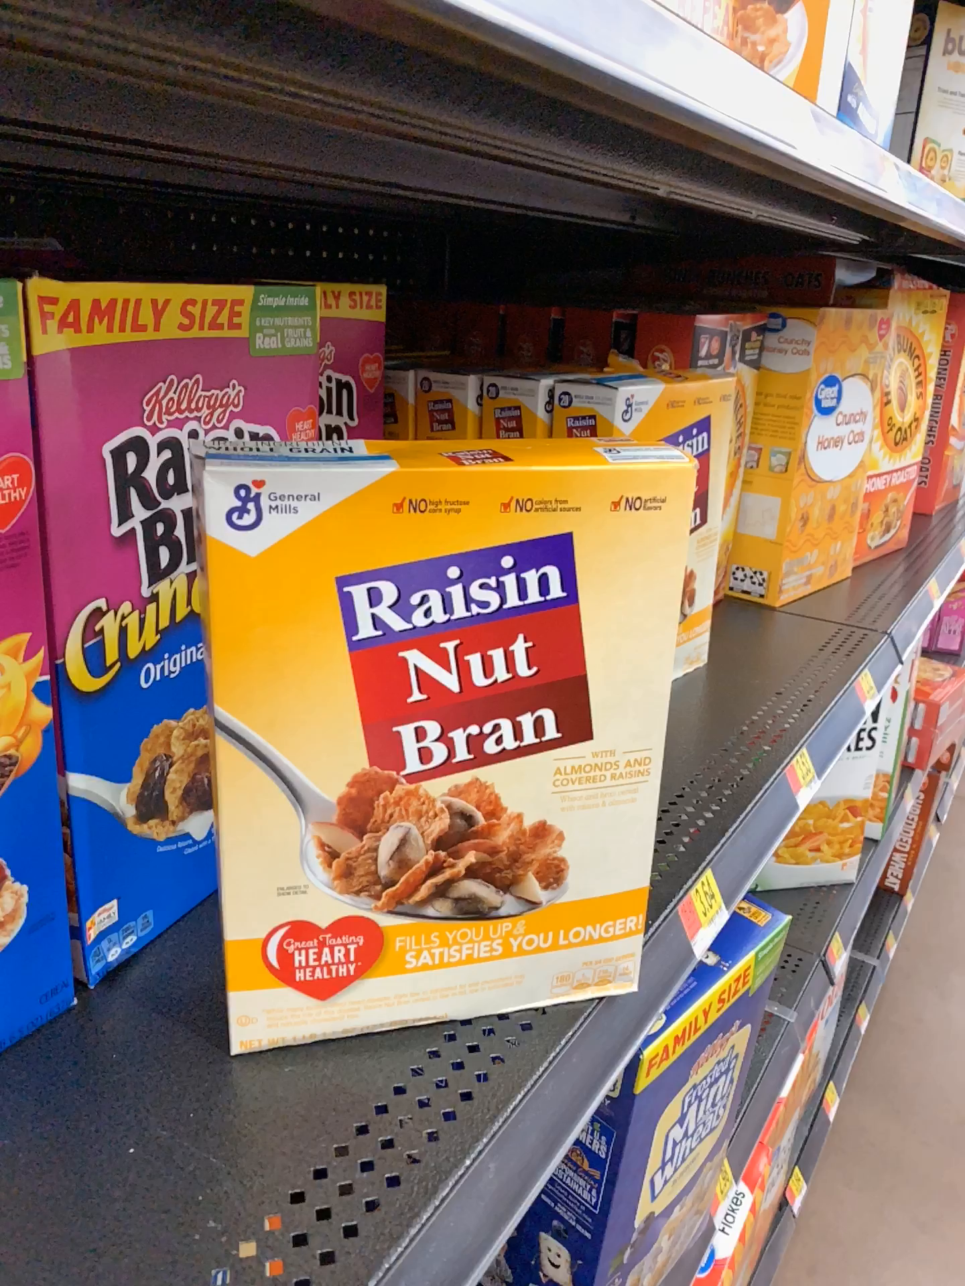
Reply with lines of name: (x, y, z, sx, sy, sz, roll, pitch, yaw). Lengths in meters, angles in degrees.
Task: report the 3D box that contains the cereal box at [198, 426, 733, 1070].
cereal box: (-0.013, 0.043, 0.429, 0.200, 0.259, 0.060, -3, 20, -15)
